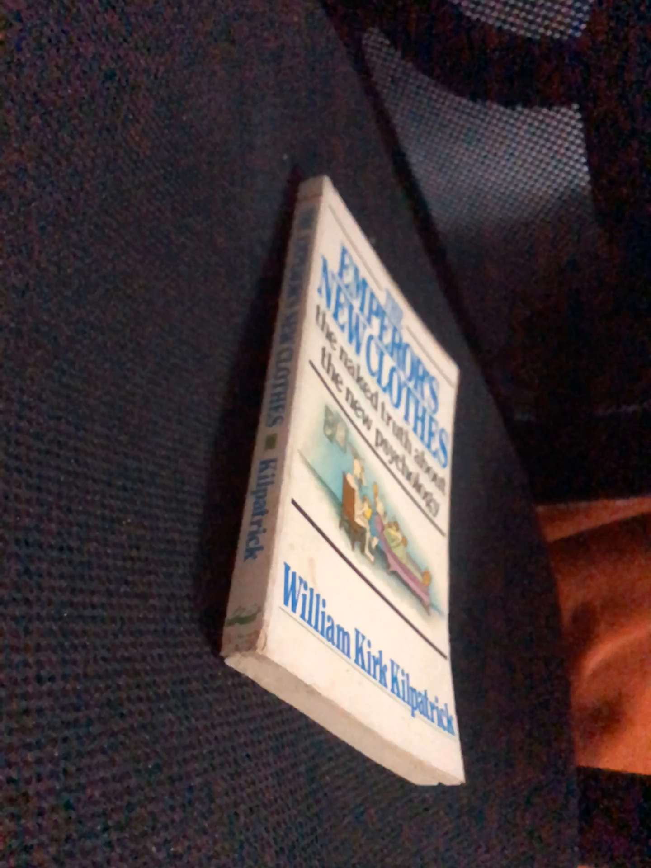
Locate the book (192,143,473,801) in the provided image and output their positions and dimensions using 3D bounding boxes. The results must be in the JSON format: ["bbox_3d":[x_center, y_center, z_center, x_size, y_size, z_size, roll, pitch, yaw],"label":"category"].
[{"bbox_3d":[0.020,0.007,0.299,0.145,0.020,0.230,49,34,-41],"label":"book"}]
